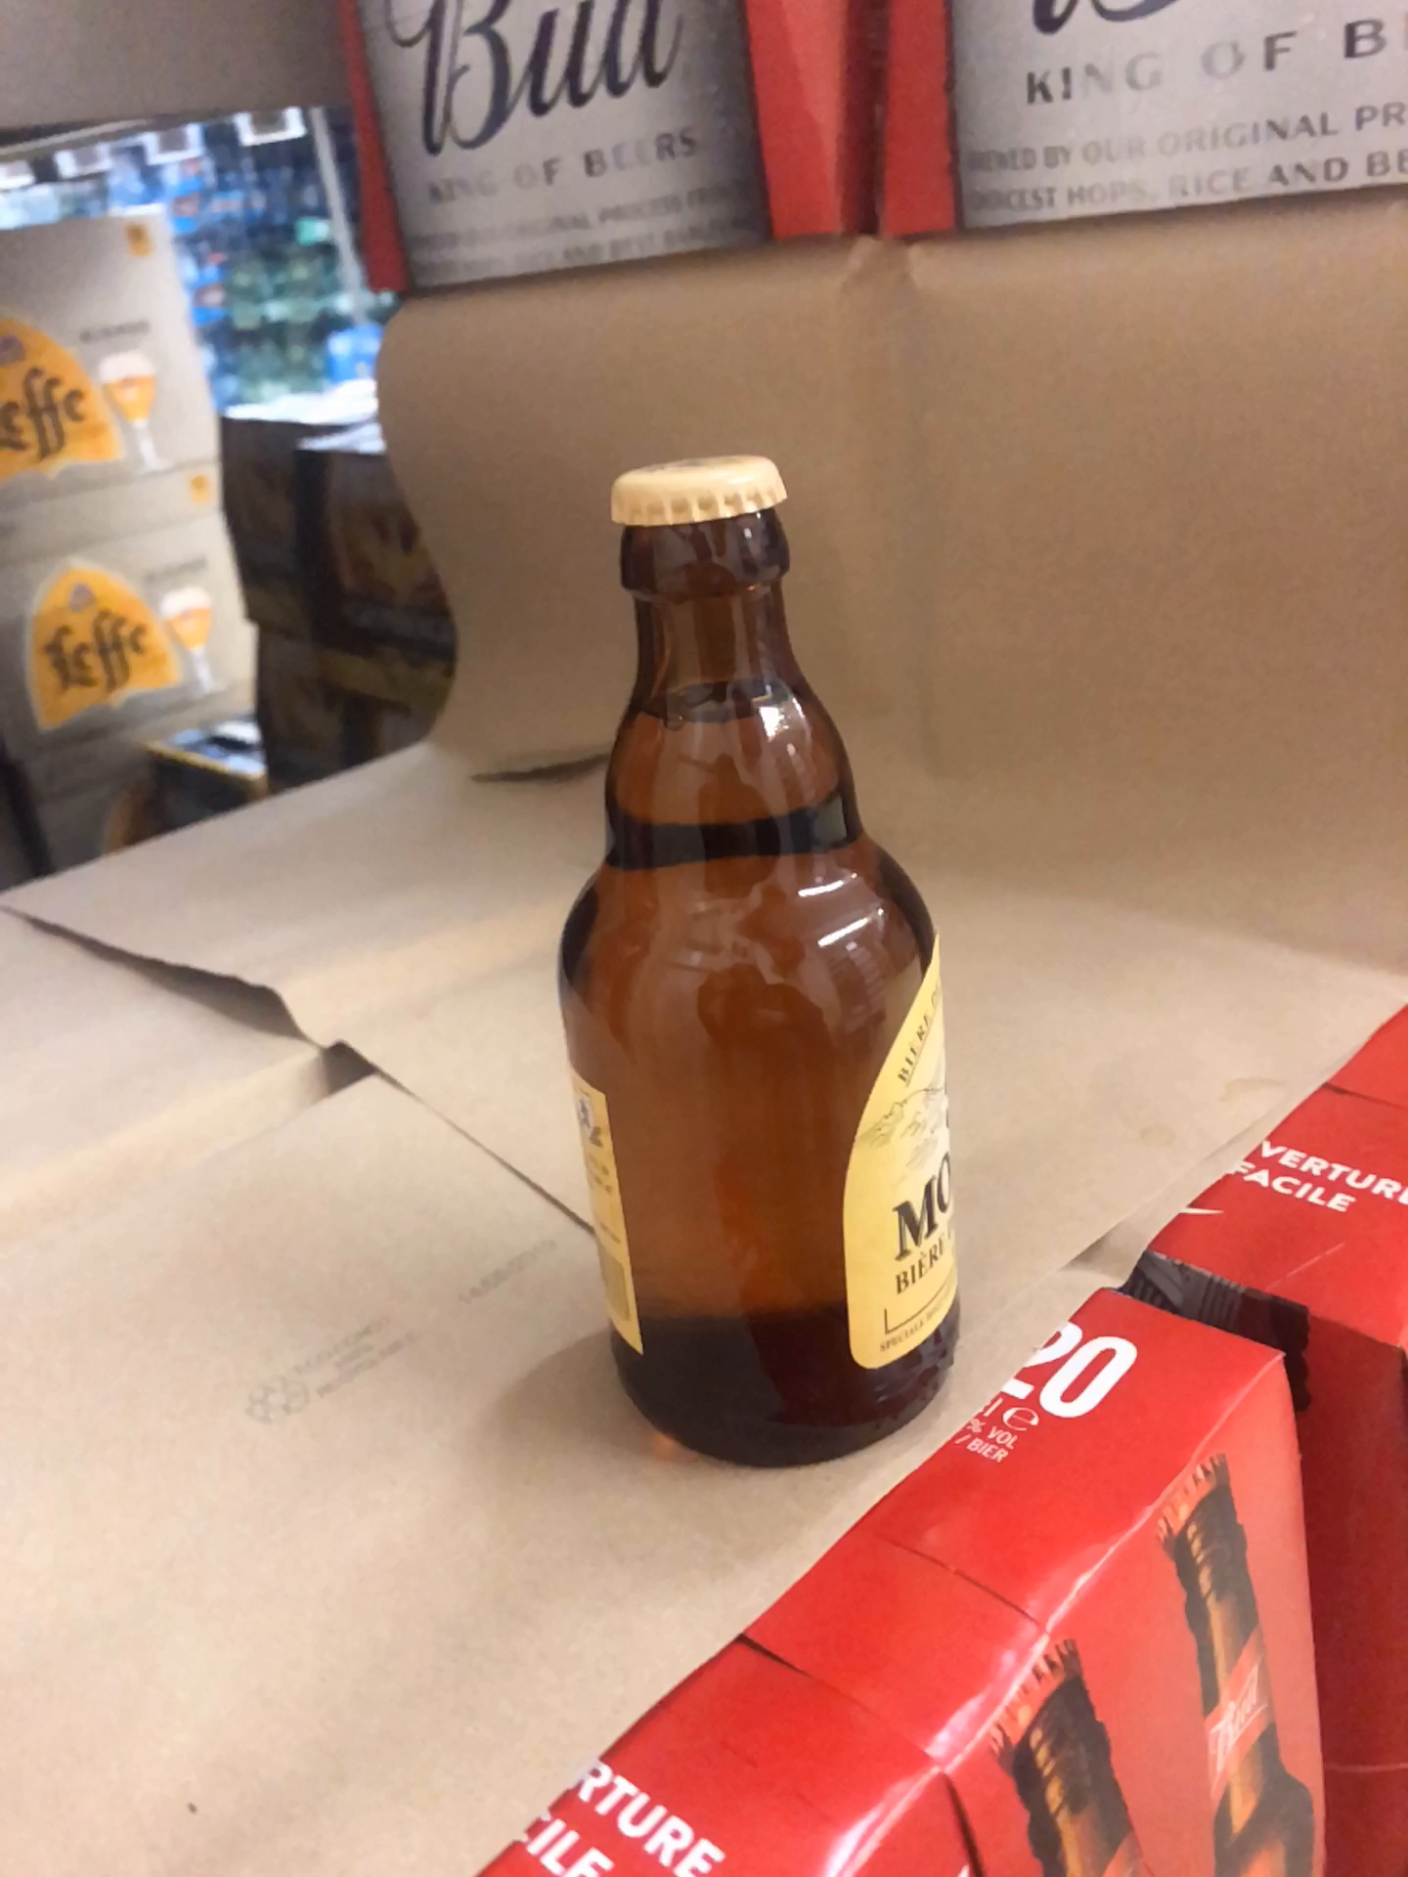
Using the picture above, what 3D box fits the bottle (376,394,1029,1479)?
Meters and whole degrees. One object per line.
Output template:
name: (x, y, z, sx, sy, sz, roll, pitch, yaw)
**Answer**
bottle: (0.009, 0.000, 0.274, 0.080, 0.166, 0.080, -6, 23, 3)
